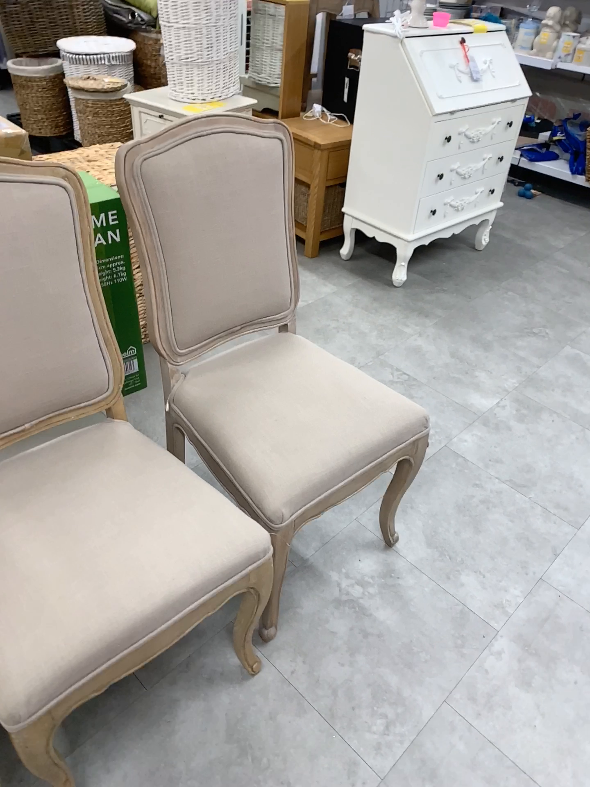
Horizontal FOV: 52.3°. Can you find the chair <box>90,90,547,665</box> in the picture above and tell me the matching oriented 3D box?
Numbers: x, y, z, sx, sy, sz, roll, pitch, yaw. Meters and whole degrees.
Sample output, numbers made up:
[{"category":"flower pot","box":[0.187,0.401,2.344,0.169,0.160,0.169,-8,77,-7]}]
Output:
[{"category":"chair","box":[0.003,-0.021,1.288,0.509,0.972,0.548,-30,51,-34]}]

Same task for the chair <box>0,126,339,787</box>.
[{"category":"chair","box":[-0.352,0.174,1.010,0.508,0.972,0.549,-25,49,-31]}]

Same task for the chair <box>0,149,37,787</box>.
[{"category":"chair","box":[-0.775,0.321,0.741,0.508,0.972,0.549,-25,49,-31]}]
